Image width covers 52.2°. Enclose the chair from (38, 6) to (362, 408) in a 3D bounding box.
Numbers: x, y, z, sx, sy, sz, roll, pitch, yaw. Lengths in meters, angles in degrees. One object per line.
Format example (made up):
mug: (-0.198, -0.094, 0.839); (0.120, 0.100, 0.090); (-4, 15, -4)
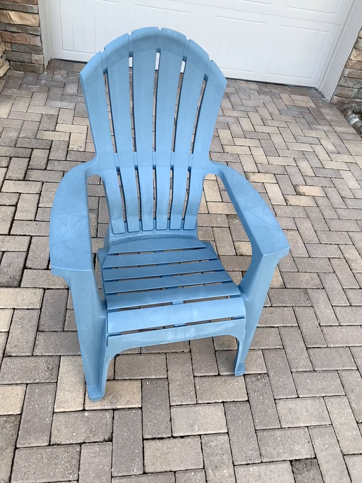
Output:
chair: (-0.044, -0.100, 1.260); (0.682, 0.984, 0.801); (-3, 44, -15)
